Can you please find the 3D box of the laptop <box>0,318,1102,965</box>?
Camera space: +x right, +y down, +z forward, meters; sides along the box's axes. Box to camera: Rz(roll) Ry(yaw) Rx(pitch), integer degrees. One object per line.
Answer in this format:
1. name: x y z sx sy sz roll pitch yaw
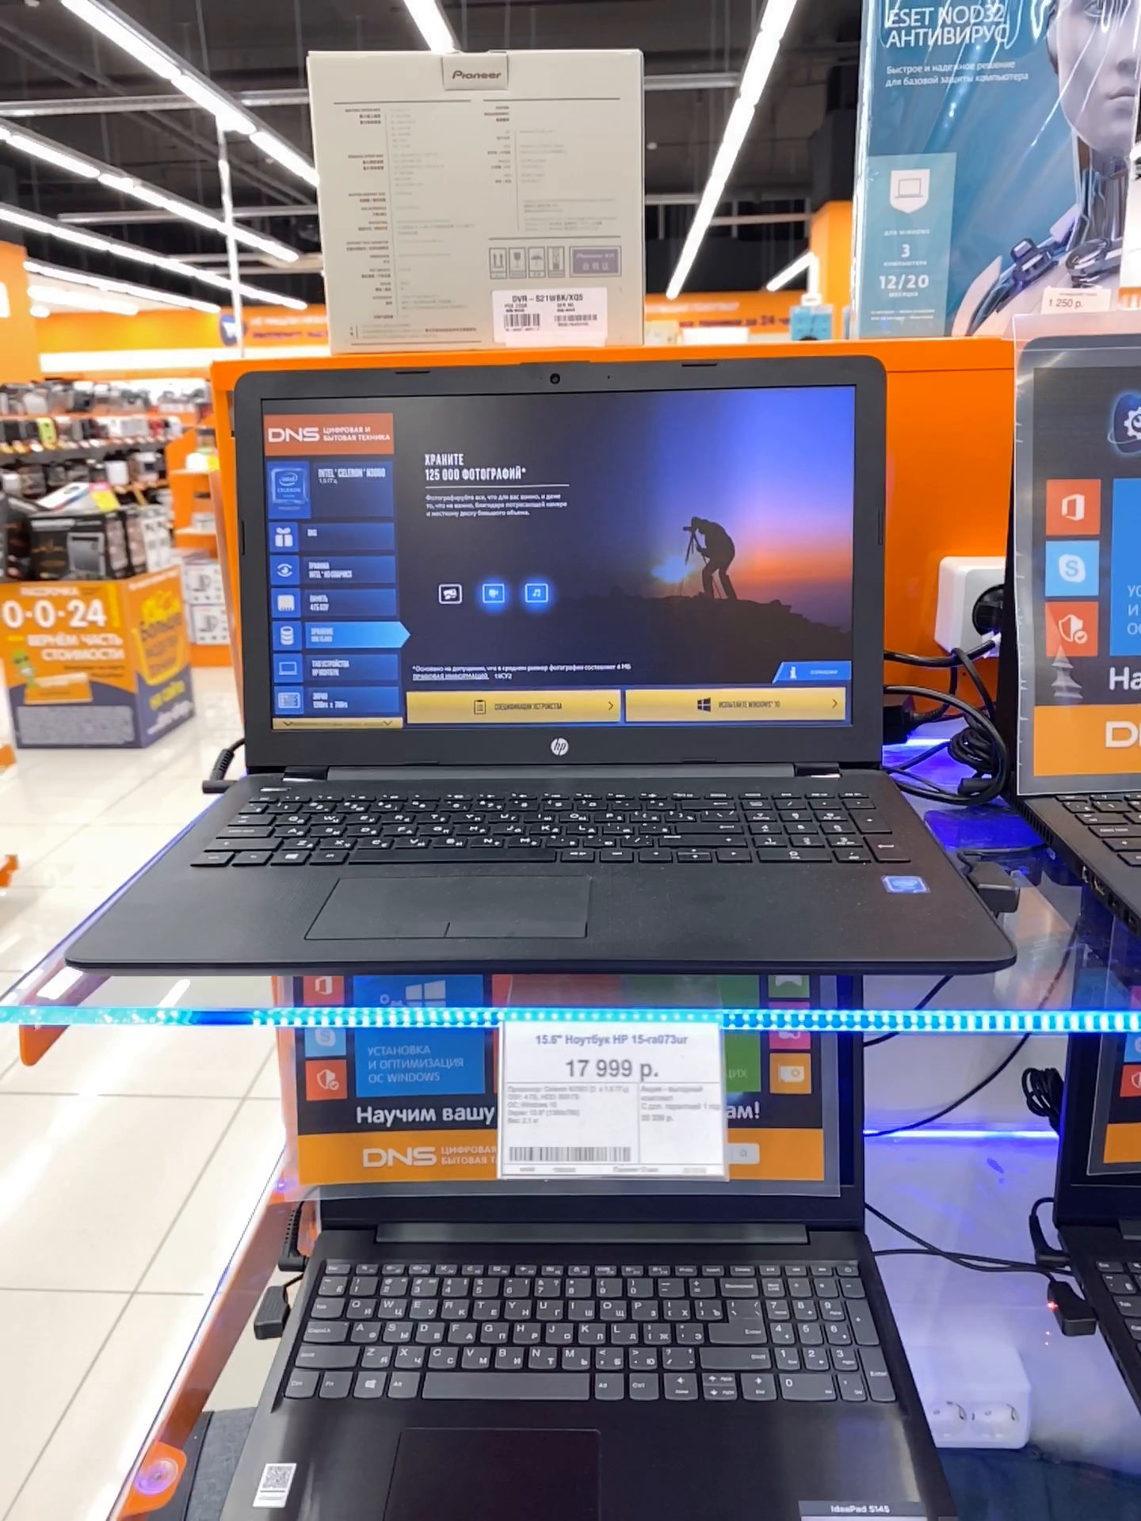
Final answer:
1. laptop: -0.010 -0.079 0.590 0.388 0.235 0.323 0 16 3
